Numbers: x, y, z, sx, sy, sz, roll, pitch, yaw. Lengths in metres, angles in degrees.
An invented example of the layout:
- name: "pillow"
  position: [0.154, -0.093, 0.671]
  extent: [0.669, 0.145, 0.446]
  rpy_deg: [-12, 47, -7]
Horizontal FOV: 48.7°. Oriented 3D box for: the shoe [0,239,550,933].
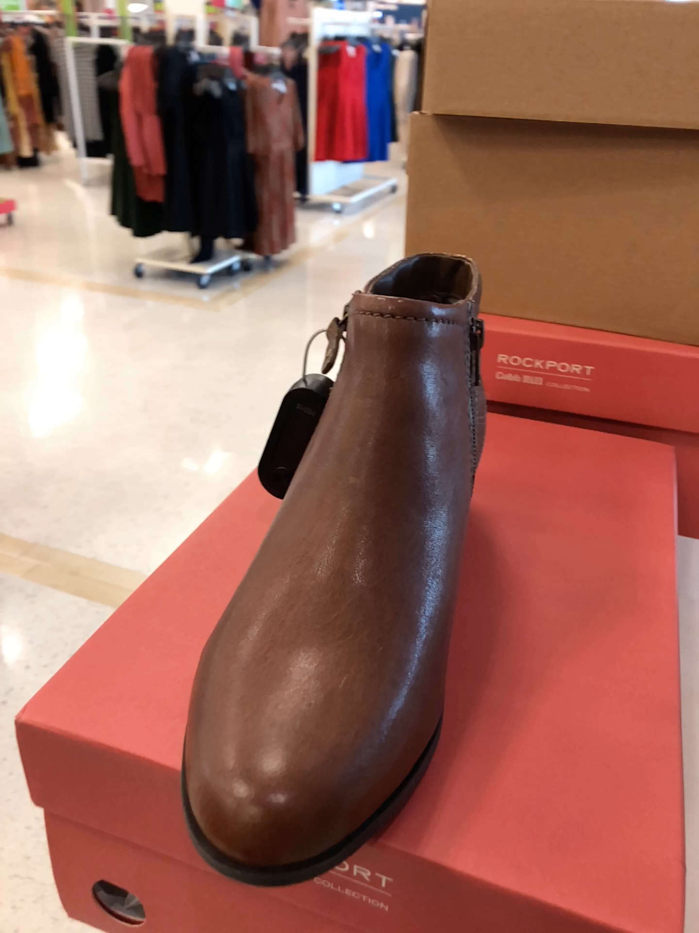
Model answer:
- name: "shoe"
  position: [0.009, 0.007, 0.300]
  extent: [0.101, 0.119, 0.282]
  rpy_deg: [10, 30, 13]
